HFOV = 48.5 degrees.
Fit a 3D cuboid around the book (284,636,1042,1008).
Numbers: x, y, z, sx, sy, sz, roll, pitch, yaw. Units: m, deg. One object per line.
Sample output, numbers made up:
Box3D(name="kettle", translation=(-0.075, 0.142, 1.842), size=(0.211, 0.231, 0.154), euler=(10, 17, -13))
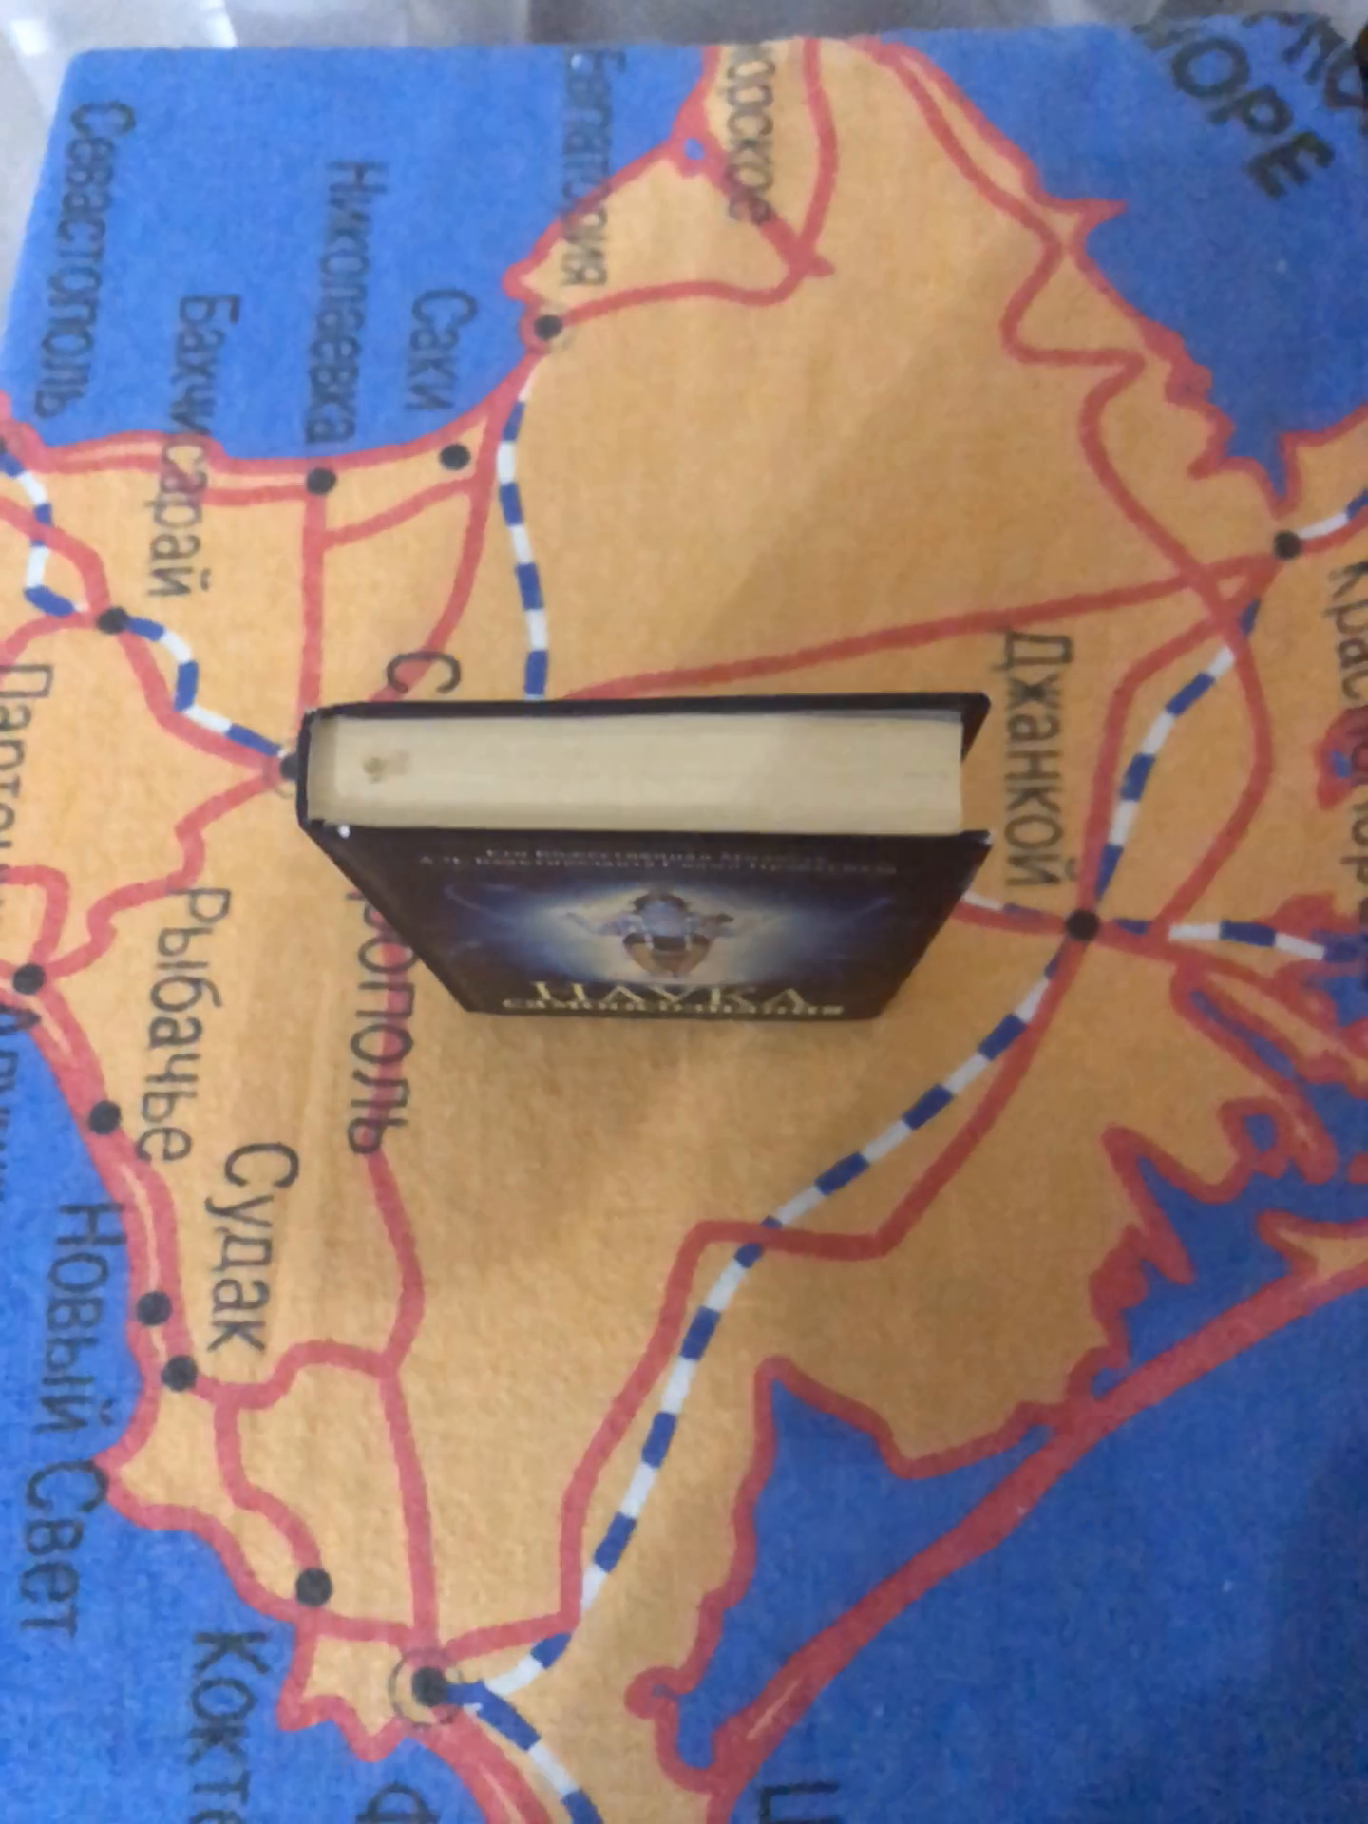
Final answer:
Box3D(name="book", translation=(-0.003, -0.011, 0.383), size=(0.140, 0.206, 0.030), euler=(0, 75, 1))
